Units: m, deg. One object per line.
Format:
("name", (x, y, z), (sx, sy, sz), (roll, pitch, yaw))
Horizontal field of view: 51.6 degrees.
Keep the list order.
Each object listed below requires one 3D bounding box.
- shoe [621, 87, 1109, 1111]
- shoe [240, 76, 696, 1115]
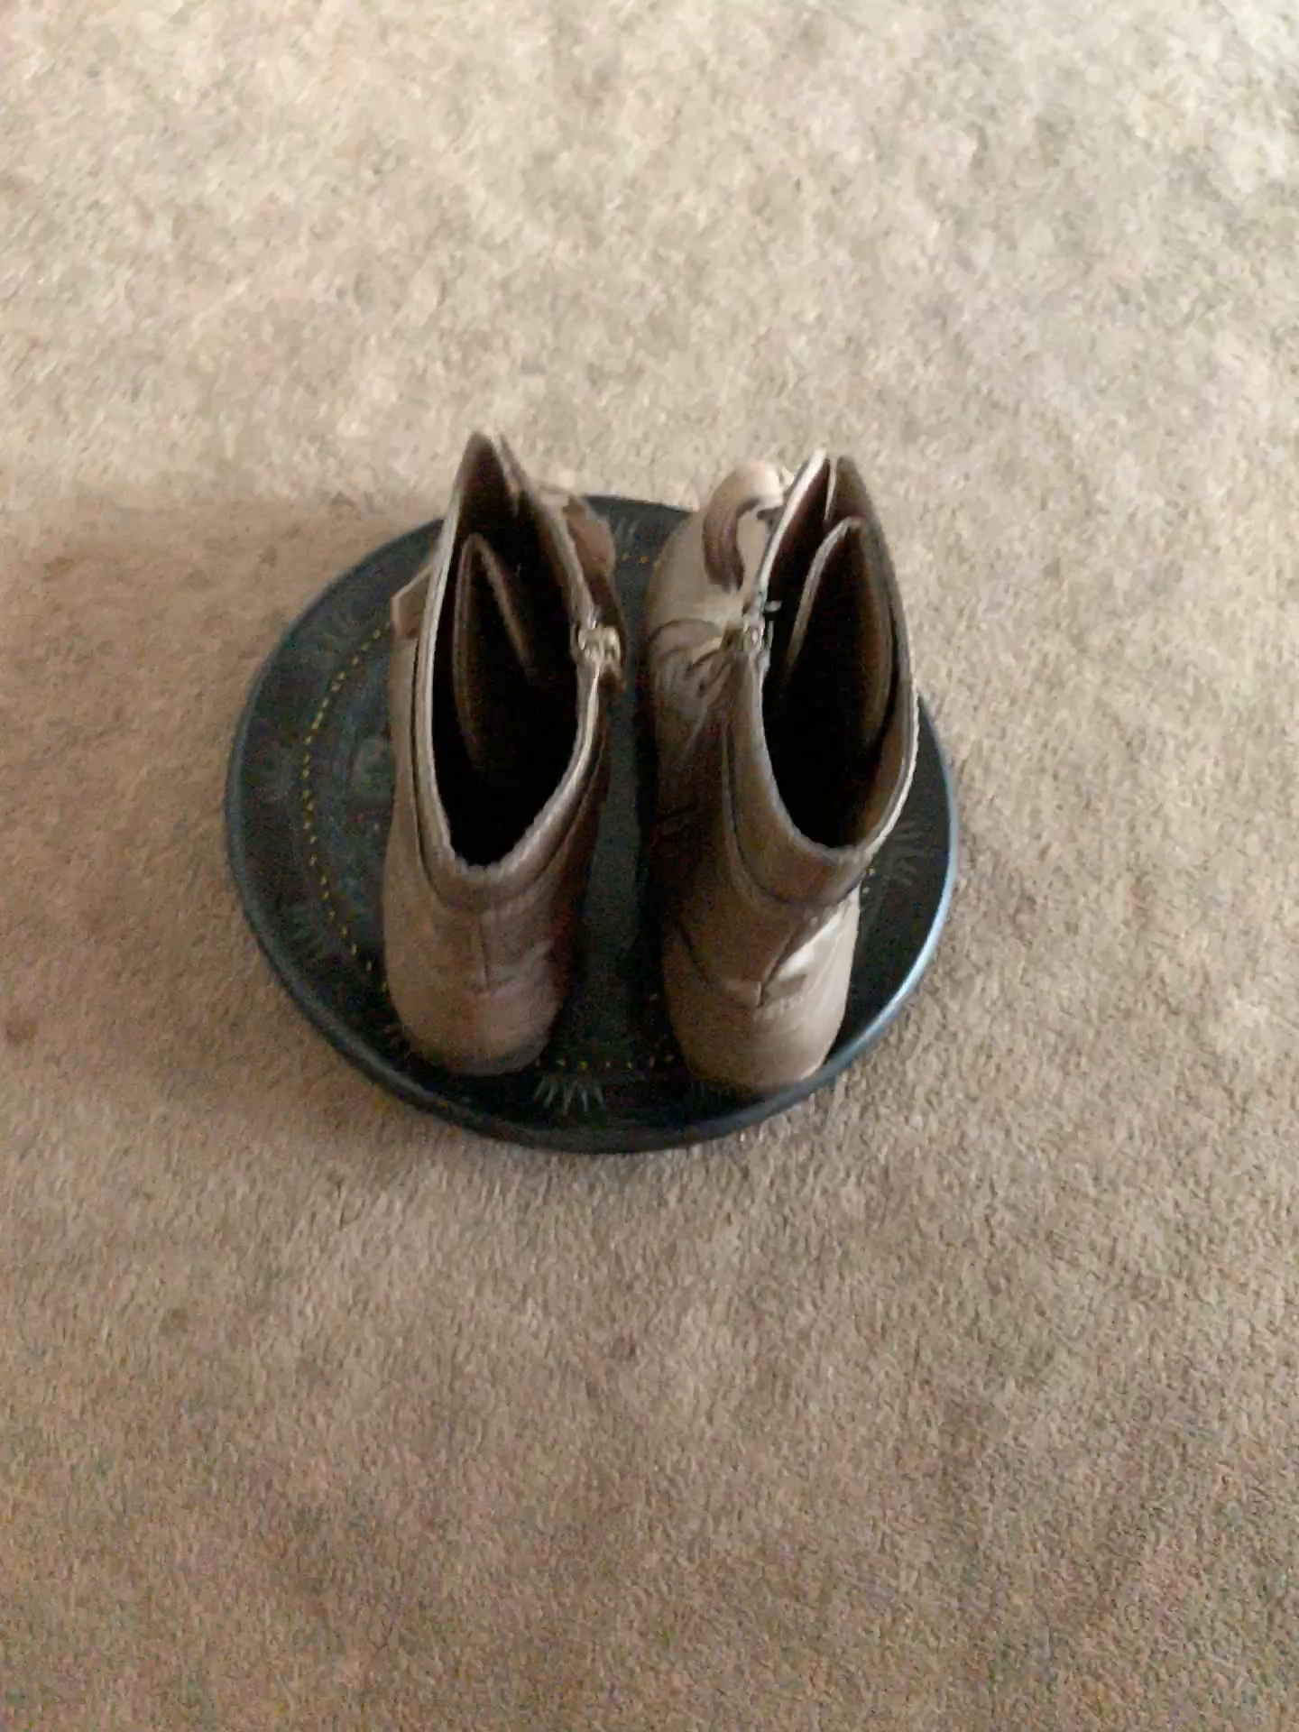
("shoe", (0.052, -0.076, 0.457), (0.100, 0.199, 0.272), (3, 66, -4))
("shoe", (-0.048, -0.076, 0.451), (0.100, 0.199, 0.272), (3, 66, -4))
